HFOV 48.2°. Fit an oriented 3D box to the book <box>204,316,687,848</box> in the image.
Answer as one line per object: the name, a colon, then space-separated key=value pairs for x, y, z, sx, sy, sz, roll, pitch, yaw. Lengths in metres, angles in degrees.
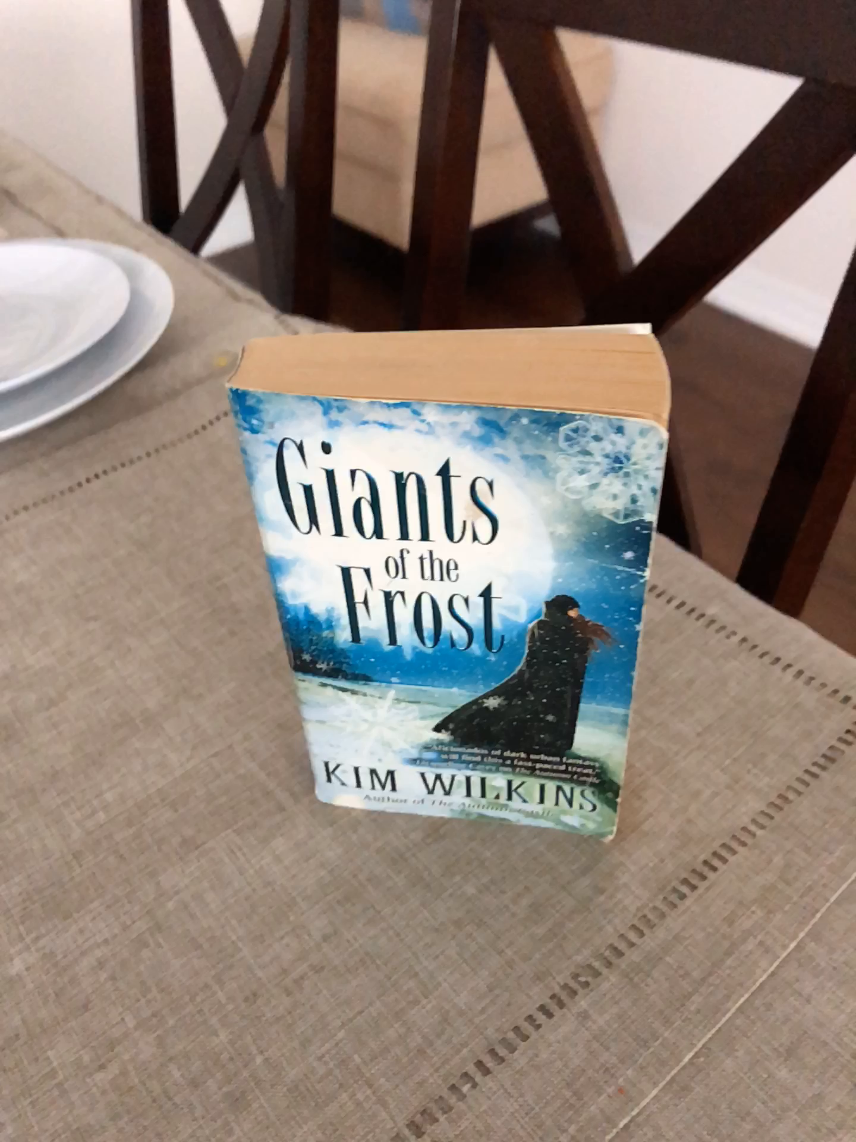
book: x=0.010 y=0.012 z=0.289 sx=0.111 sy=0.168 sz=0.043 roll=3 pitch=41 yaw=9
